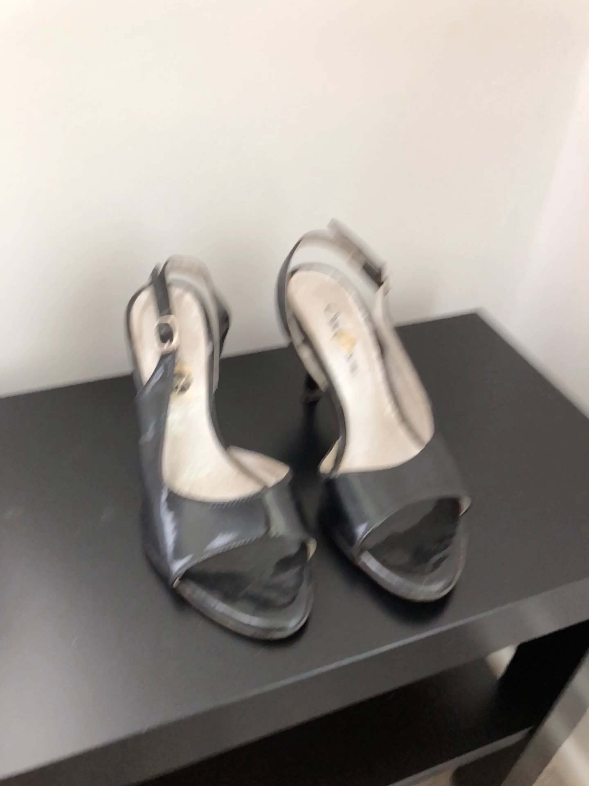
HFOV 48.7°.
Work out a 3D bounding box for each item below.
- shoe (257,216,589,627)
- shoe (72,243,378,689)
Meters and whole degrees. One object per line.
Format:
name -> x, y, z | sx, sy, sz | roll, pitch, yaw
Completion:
shoe -> 0.048, -0.001, 0.367 | 0.083, 0.110, 0.211 | -9, 41, -15
shoe -> -0.051, 0.021, 0.351 | 0.083, 0.110, 0.211 | -13, 42, -20
